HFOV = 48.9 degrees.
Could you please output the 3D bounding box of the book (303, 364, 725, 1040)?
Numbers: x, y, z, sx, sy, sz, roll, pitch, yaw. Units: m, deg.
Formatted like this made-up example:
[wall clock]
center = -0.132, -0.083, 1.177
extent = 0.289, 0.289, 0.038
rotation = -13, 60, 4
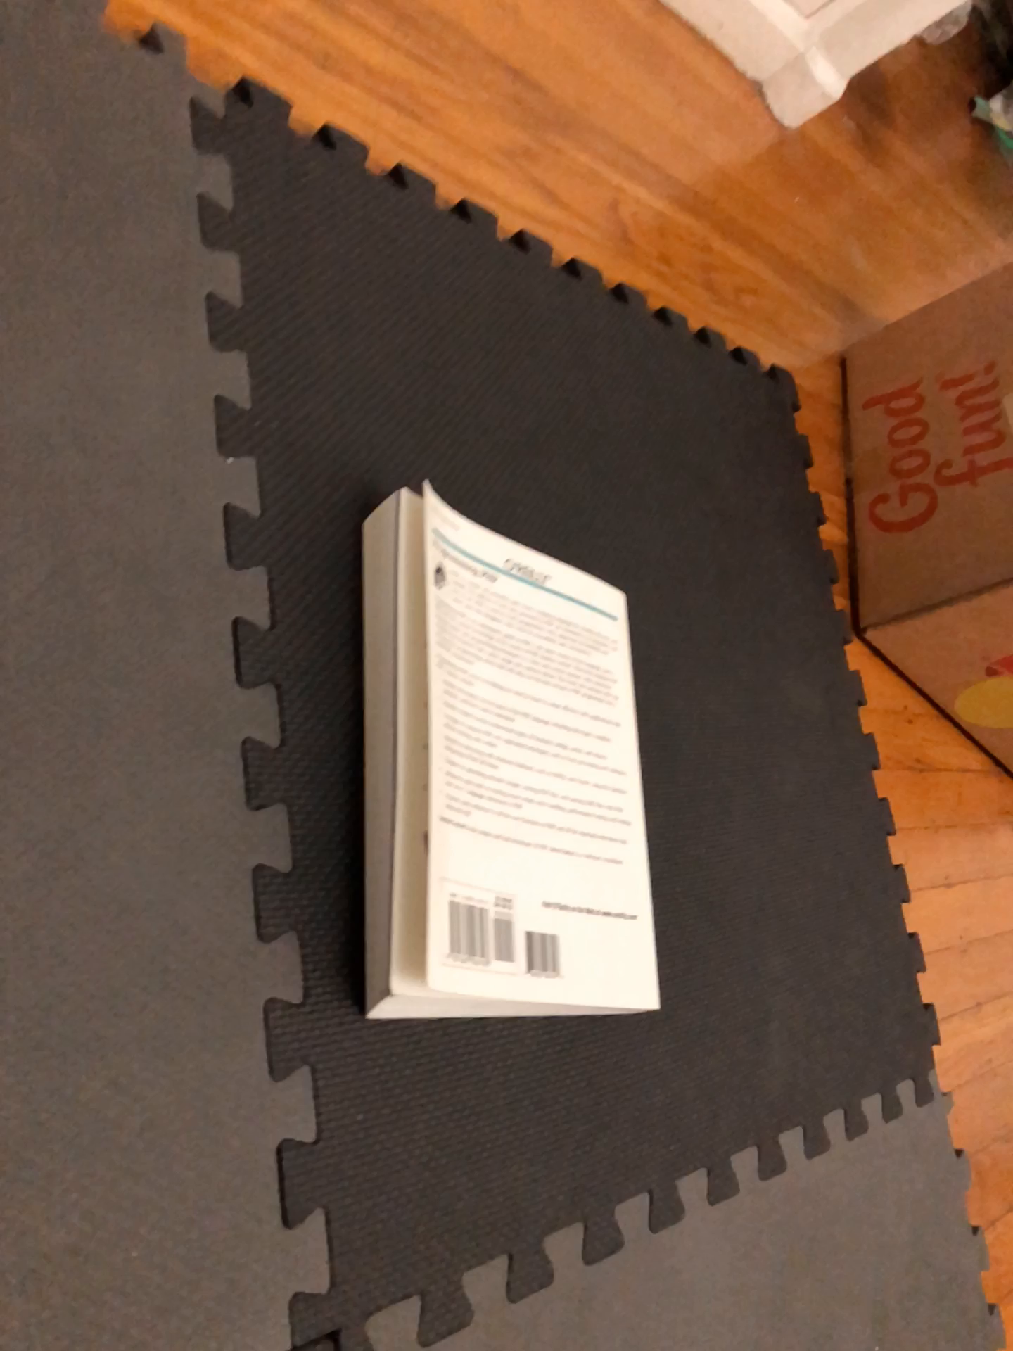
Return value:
[book]
center = 0.012, 0.026, 0.548
extent = 0.231, 0.040, 0.291
rotation = 18, 62, -43
